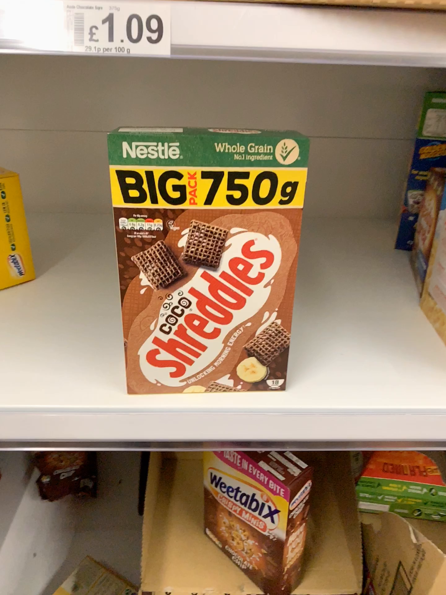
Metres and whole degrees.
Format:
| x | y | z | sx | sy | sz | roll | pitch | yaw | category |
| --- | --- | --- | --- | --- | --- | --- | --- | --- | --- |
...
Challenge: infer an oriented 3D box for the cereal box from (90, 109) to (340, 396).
| x | y | z | sx | sy | sz | roll | pitch | yaw | category |
| --- | --- | --- | --- | --- | --- | --- | --- | --- | --- |
| -0.011 | -0.038 | 0.485 | 0.210 | 0.287 | 0.081 | 0 | 27 | -4 | cereal box |
